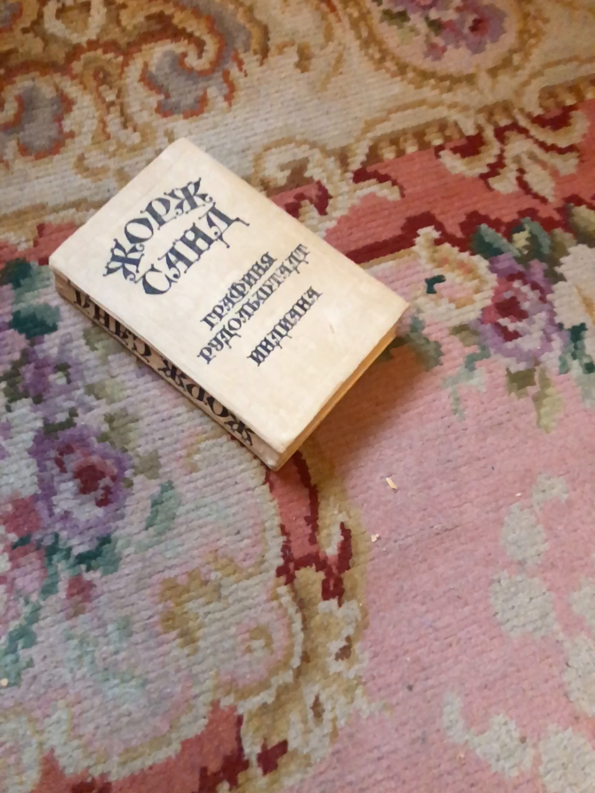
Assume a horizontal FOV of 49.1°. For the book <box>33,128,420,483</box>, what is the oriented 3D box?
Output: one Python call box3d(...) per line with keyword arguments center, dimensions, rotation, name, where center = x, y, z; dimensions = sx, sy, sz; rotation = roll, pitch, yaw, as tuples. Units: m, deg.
box3d(center=(-0.049, -0.070, 0.473), dimensions=(0.220, 0.057, 0.150), rotation=(39, 74, 10), name="book")
